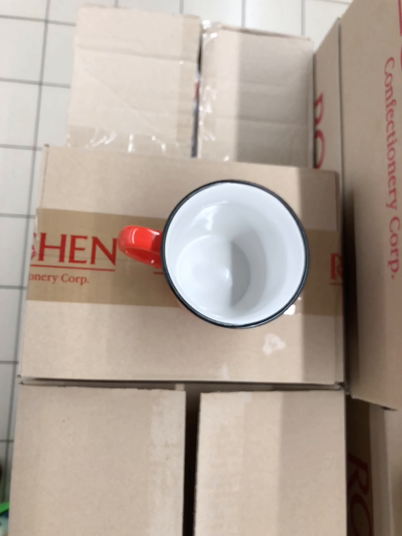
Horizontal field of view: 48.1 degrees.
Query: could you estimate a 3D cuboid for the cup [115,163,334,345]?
[{"bbox_3d":[0.012,-0.003,0.323,0.127,0.090,0.096,9,81,-7],"label":"cup"}]
